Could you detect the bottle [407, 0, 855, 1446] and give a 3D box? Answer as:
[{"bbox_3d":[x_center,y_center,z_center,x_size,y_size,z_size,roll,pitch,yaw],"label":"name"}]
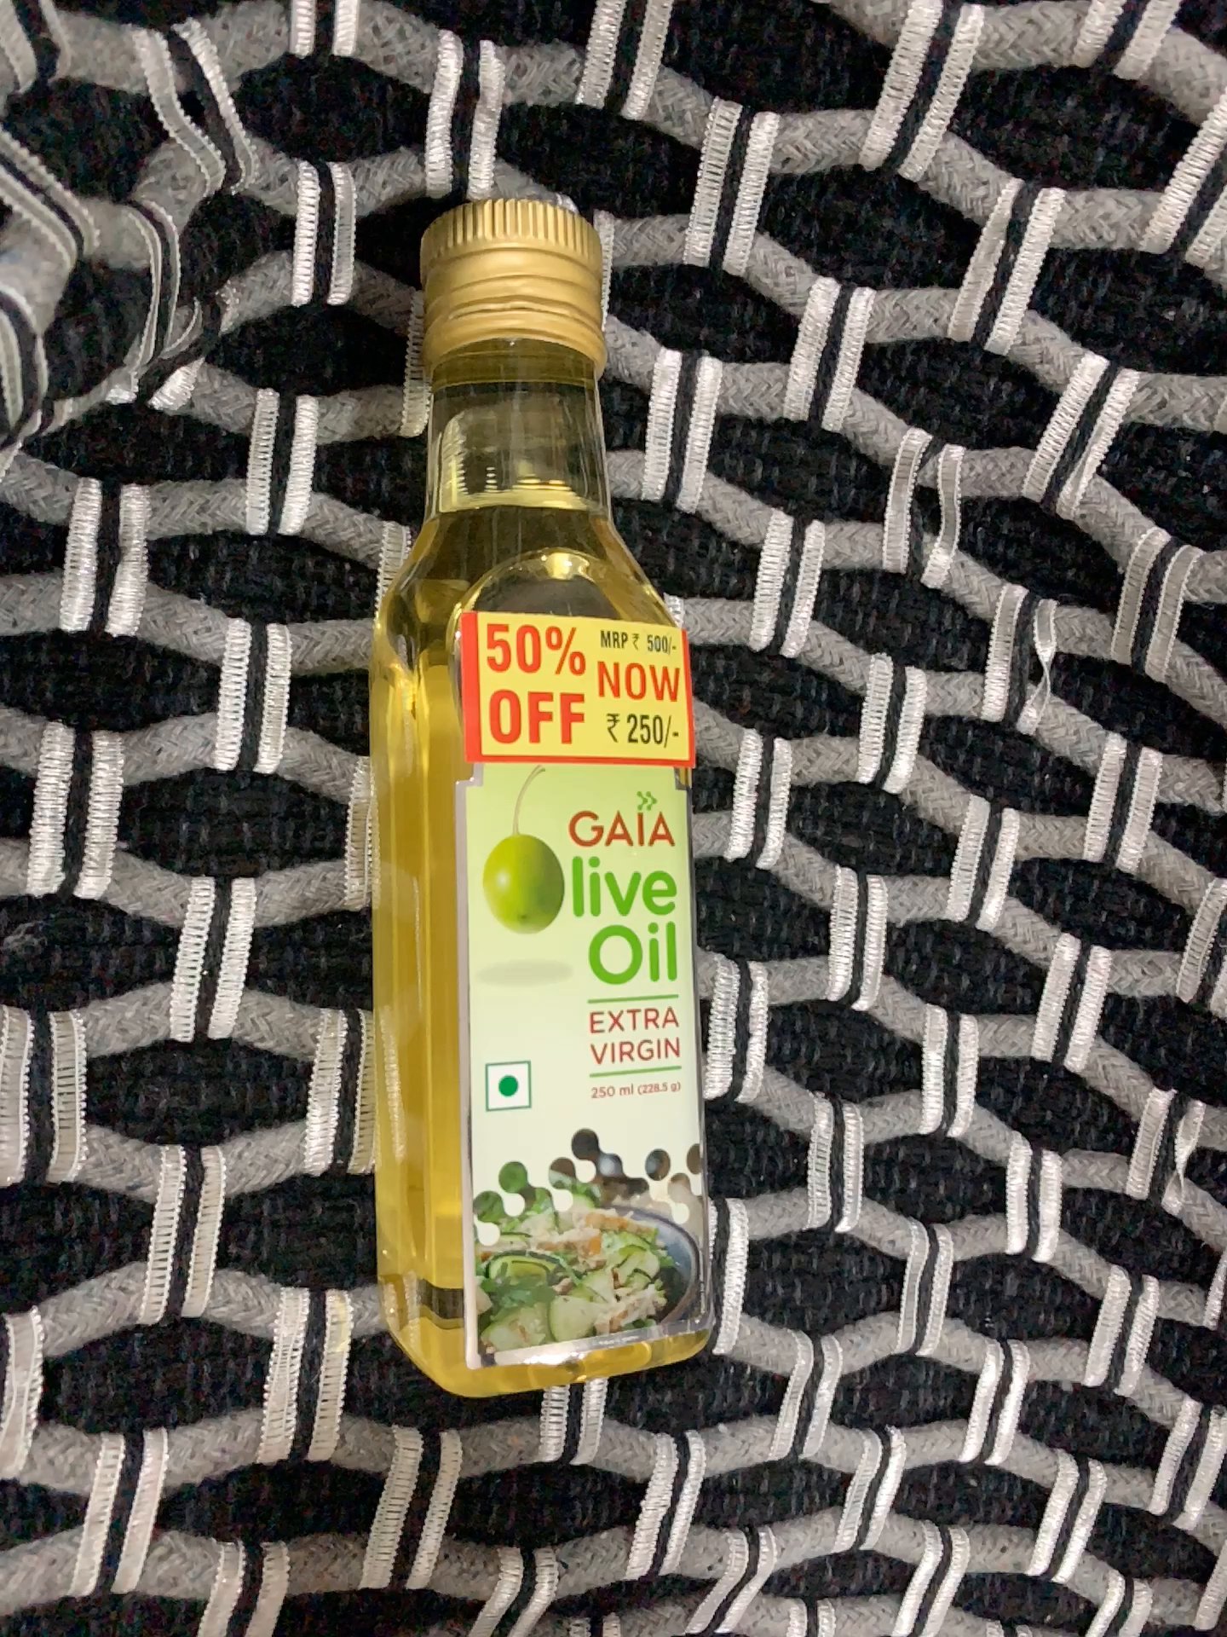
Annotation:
[{"bbox_3d":[-0.001,-0.015,0.198,0.050,0.050,0.190,1,85,-23],"label":"bottle"}]
